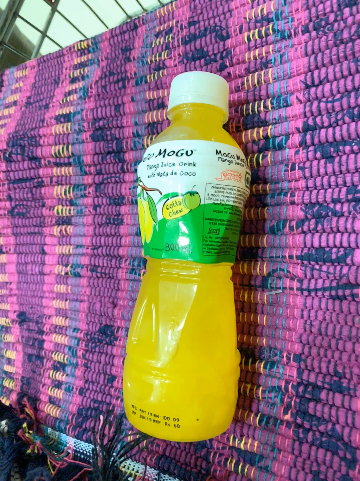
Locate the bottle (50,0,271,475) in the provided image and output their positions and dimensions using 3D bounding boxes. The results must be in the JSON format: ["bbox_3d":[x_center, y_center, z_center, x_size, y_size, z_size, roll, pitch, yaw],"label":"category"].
[{"bbox_3d":[-0.004,-0.004,0.165,0.060,0.060,0.160,2,85,33],"label":"bottle"}]
